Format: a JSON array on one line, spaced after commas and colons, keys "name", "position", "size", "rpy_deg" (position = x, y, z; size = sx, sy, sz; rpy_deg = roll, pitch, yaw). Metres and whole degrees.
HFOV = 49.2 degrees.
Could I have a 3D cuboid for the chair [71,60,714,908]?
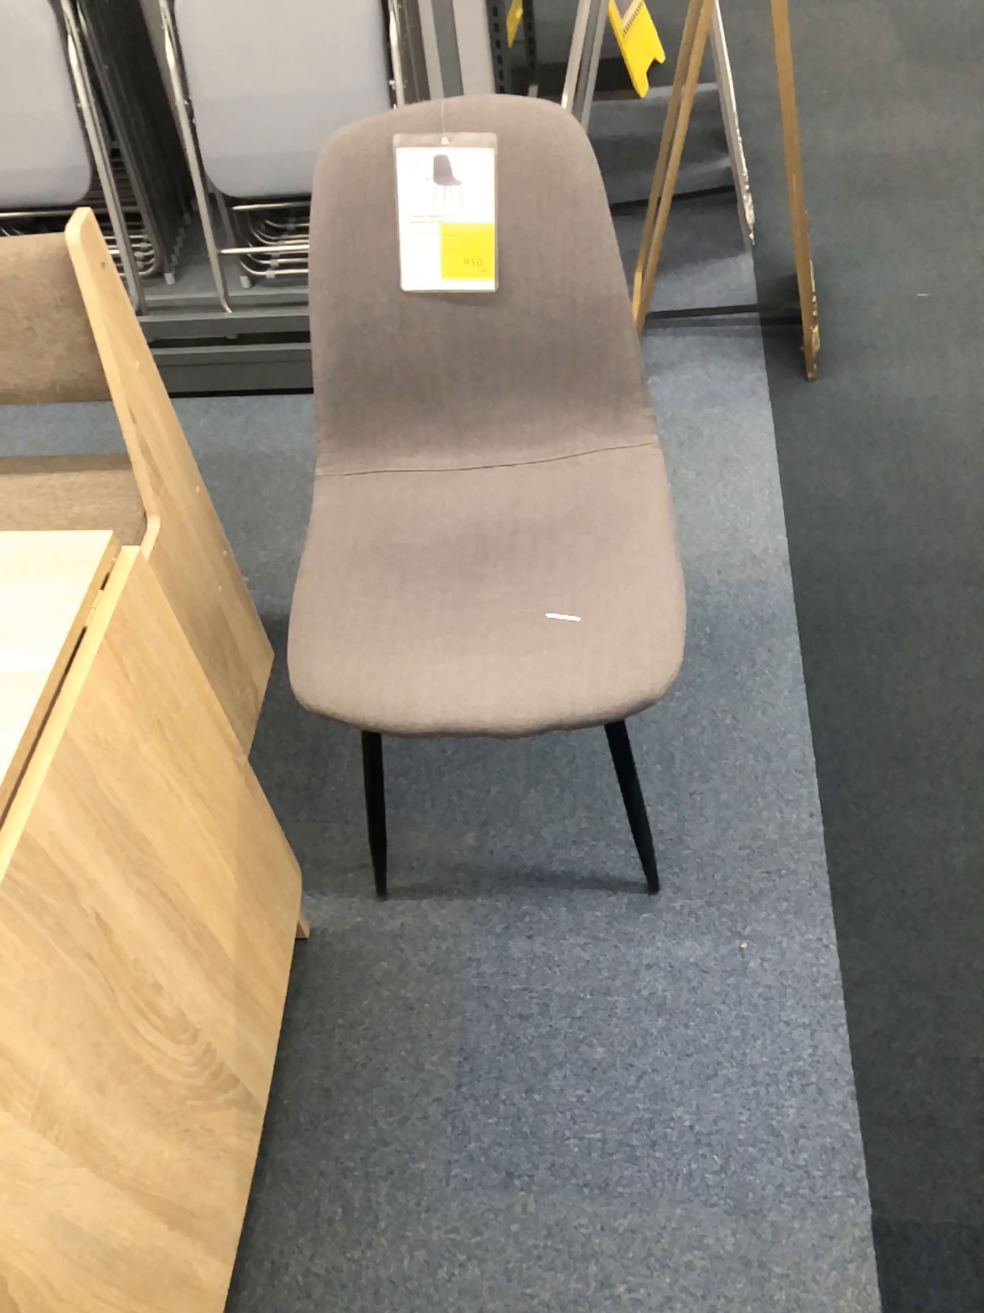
[{"name": "chair", "position": [-0.028, -0.140, 1.272], "size": [0.480, 0.807, 0.542], "rpy_deg": [-2, 50, 6]}]
